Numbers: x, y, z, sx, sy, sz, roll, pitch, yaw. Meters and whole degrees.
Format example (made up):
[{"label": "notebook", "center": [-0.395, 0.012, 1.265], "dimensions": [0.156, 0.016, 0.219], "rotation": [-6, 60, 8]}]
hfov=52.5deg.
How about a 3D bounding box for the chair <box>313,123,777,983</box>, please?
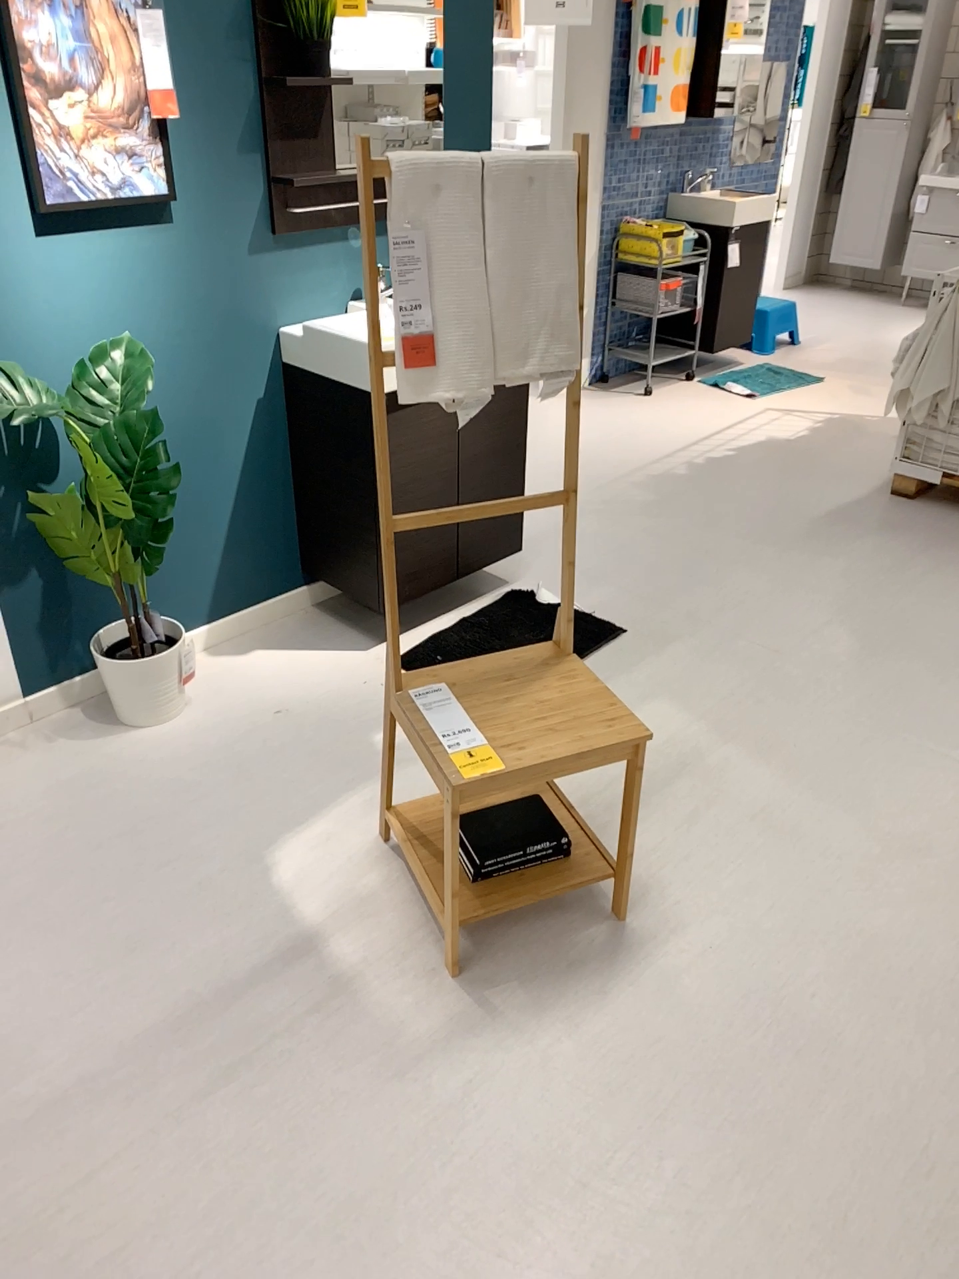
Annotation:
[{"label": "chair", "center": [0.054, -0.118, 1.626], "dimensions": [0.460, 1.294, 0.472], "rotation": [-11, 32, -20]}]
